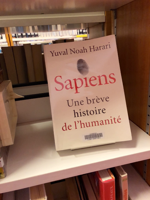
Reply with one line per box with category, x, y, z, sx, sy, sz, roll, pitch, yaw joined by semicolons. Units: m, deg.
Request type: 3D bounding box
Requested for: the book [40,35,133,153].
book;0.023;-0.017;0.394;0.178;0.244;0.052;-7;-5;-3
